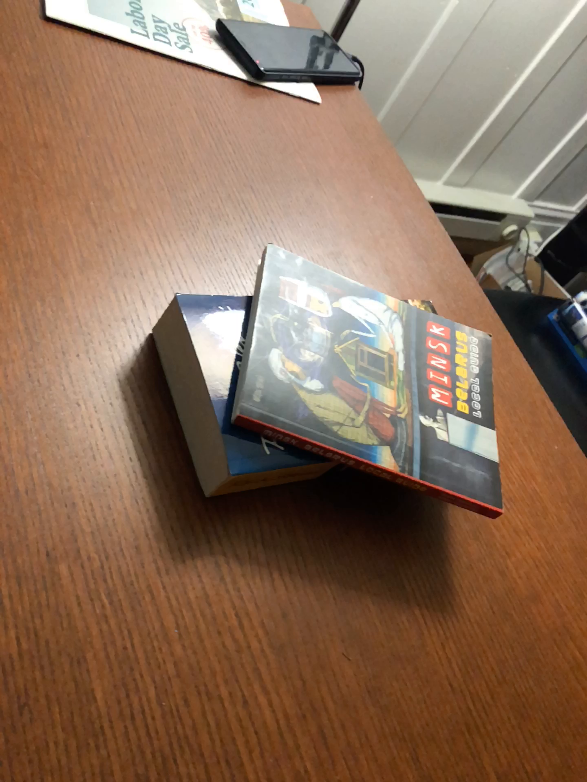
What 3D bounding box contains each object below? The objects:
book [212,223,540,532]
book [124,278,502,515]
[{"bbox_3d":[0.053,-0.010,0.389,0.190,0.020,0.151,19,49,-18],"label":"book"},{"bbox_3d":[0.018,-0.006,0.419,0.221,0.040,0.130,-4,59,-34],"label":"book"}]
